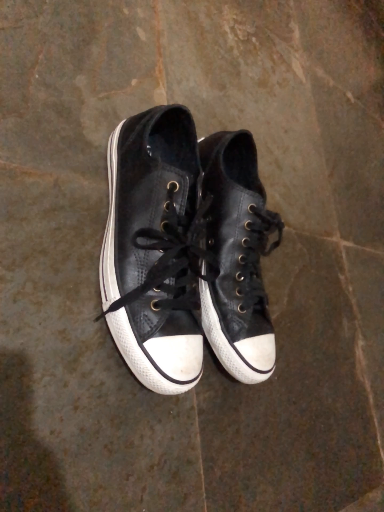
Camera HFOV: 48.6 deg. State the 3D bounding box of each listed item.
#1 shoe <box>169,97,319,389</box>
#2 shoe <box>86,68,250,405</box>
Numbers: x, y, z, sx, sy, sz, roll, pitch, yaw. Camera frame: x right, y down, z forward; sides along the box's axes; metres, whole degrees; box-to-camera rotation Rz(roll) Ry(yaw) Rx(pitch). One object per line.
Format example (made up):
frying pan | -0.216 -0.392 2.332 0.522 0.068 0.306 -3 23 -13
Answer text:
shoe | 0.057 -0.014 0.502 0.111 0.079 0.310 7 71 -44
shoe | -0.029 -0.016 0.413 0.101 0.079 0.290 7 71 -44
